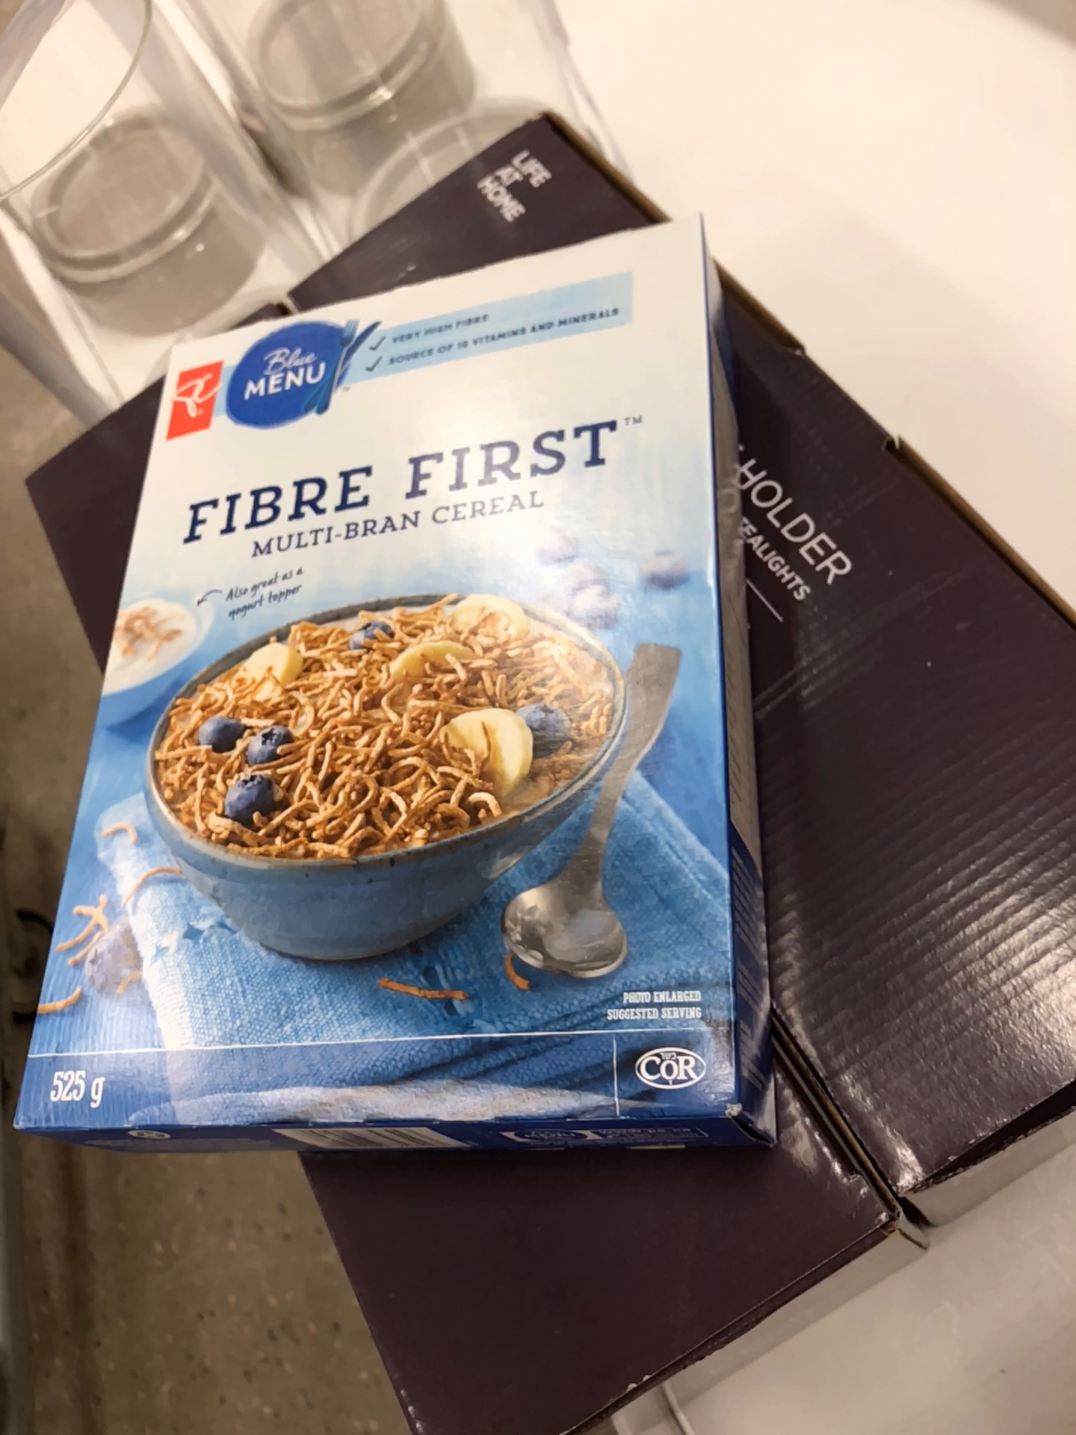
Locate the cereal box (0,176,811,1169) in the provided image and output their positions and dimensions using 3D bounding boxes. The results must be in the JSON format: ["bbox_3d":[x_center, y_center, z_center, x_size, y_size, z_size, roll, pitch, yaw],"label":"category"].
[{"bbox_3d":[-0.037,-0.012,0.345,0.200,0.060,0.260,-7,64,18],"label":"cereal box"}]
